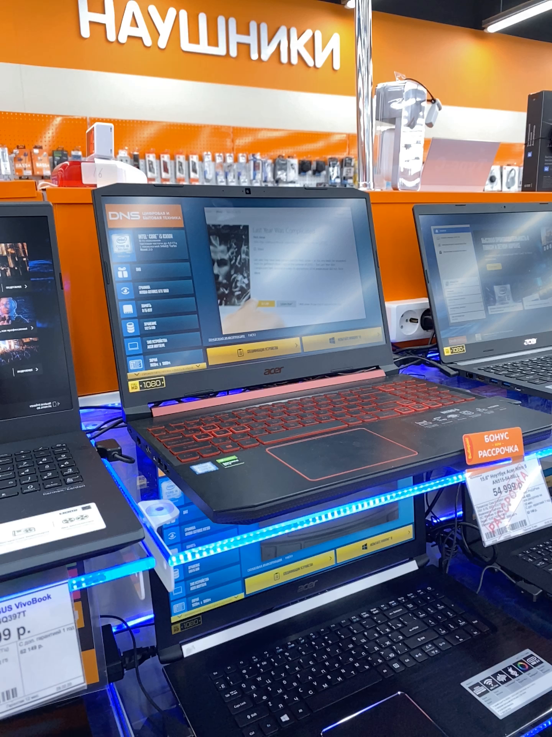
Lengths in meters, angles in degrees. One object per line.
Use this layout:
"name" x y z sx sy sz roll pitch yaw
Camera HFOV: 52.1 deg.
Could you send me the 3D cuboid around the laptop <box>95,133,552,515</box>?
"laptop" 0.042 -0.067 0.569 0.360 0.237 0.303 -8 13 -28
